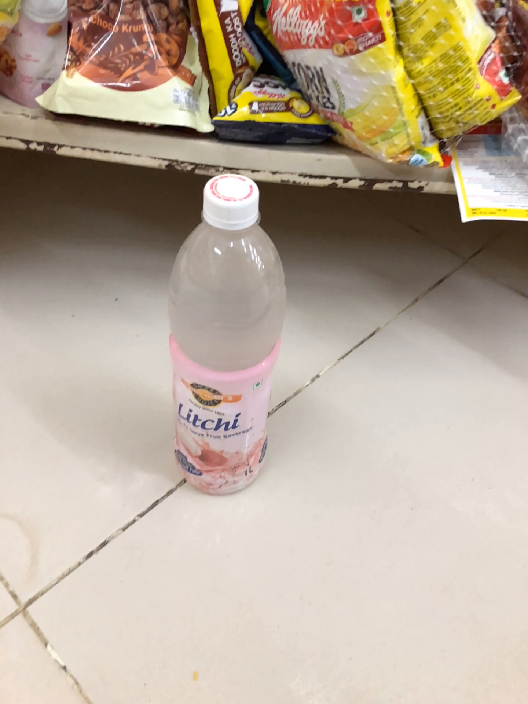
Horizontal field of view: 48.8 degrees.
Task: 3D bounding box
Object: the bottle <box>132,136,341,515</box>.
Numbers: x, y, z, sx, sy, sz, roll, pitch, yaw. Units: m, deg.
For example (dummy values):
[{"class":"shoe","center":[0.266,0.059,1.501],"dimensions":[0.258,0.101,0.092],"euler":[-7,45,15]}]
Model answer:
[{"class":"bottle","center":[-0.020,0.002,0.370],"dimensions":[0.080,0.239,0.080],"euler":[3,48,-4]}]
